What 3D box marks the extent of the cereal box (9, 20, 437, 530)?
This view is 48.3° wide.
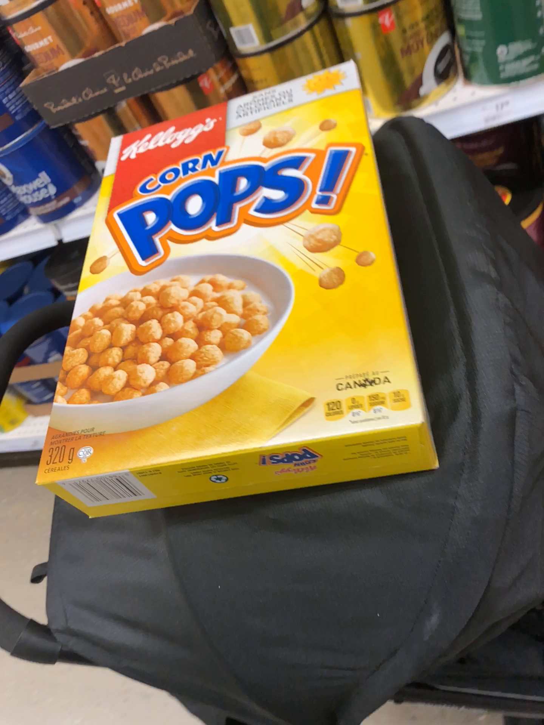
[{"bbox_3d":[-0.029,-0.073,0.386,0.200,0.060,0.321,-12,54,15],"label":"cereal box"}]
